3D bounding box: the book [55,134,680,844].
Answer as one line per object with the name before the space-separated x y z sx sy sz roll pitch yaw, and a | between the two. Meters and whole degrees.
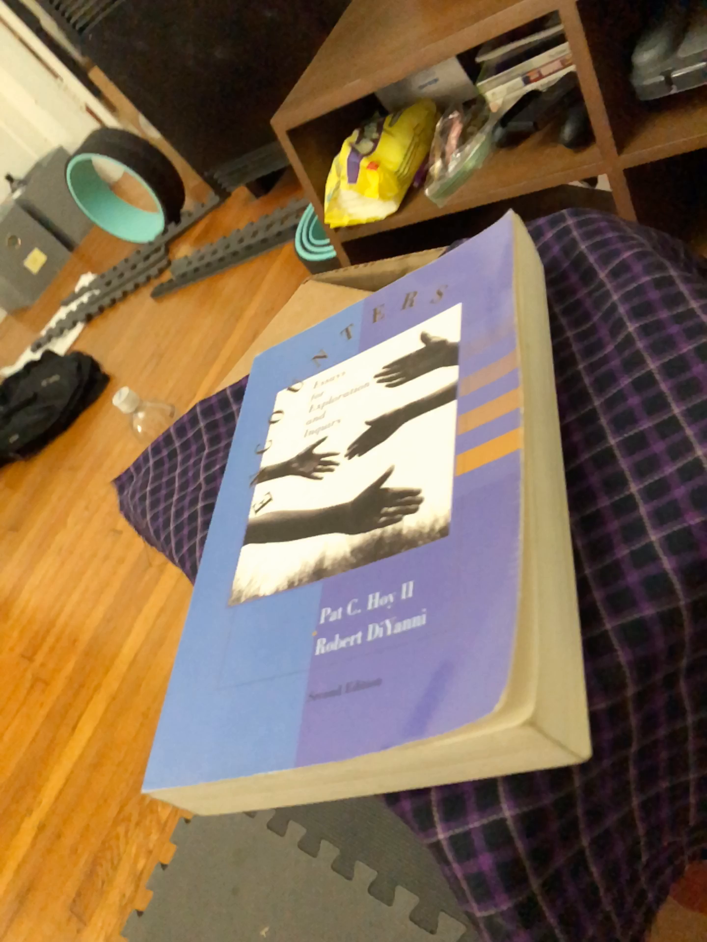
book | 0.002 -0.002 0.312 0.200 0.040 0.261 -21 43 31
